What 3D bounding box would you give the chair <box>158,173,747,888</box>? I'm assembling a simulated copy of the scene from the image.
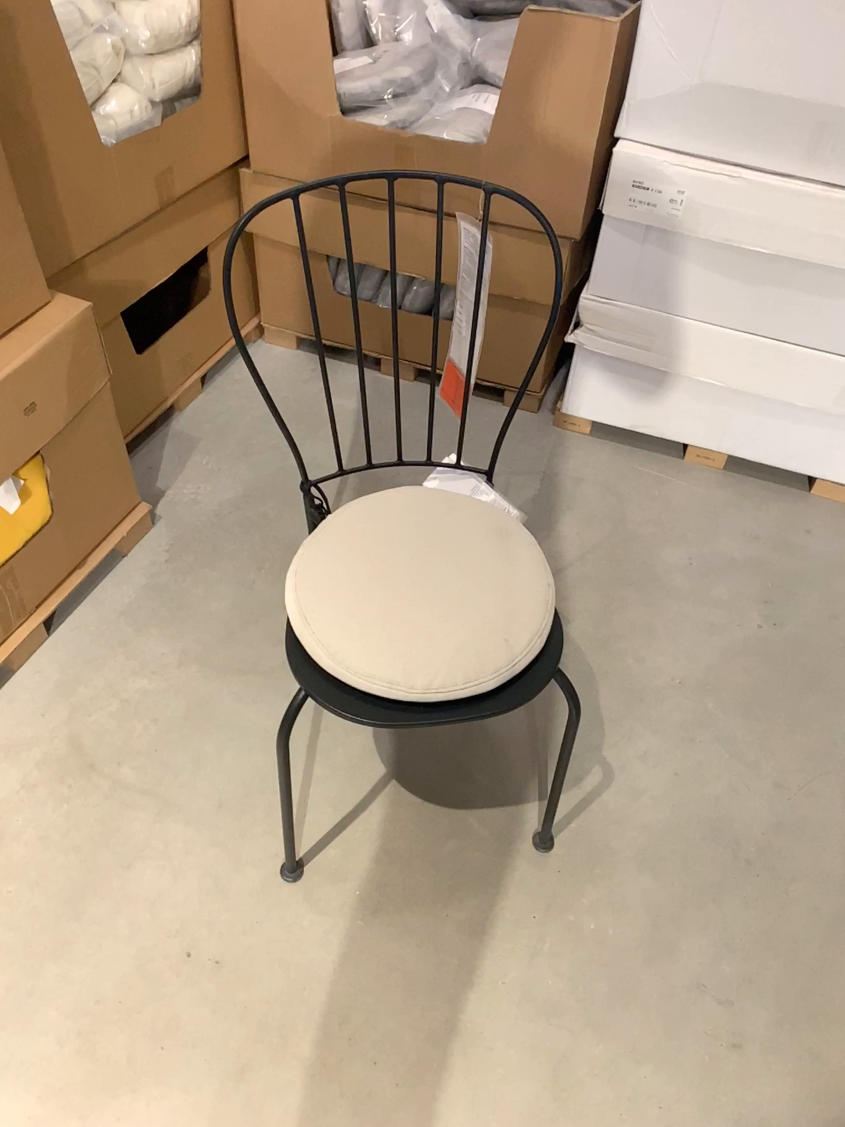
[{"bbox_3d":[-0.019,-0.004,1.166,0.480,0.817,0.522,-3,48,-7],"label":"chair"}]
